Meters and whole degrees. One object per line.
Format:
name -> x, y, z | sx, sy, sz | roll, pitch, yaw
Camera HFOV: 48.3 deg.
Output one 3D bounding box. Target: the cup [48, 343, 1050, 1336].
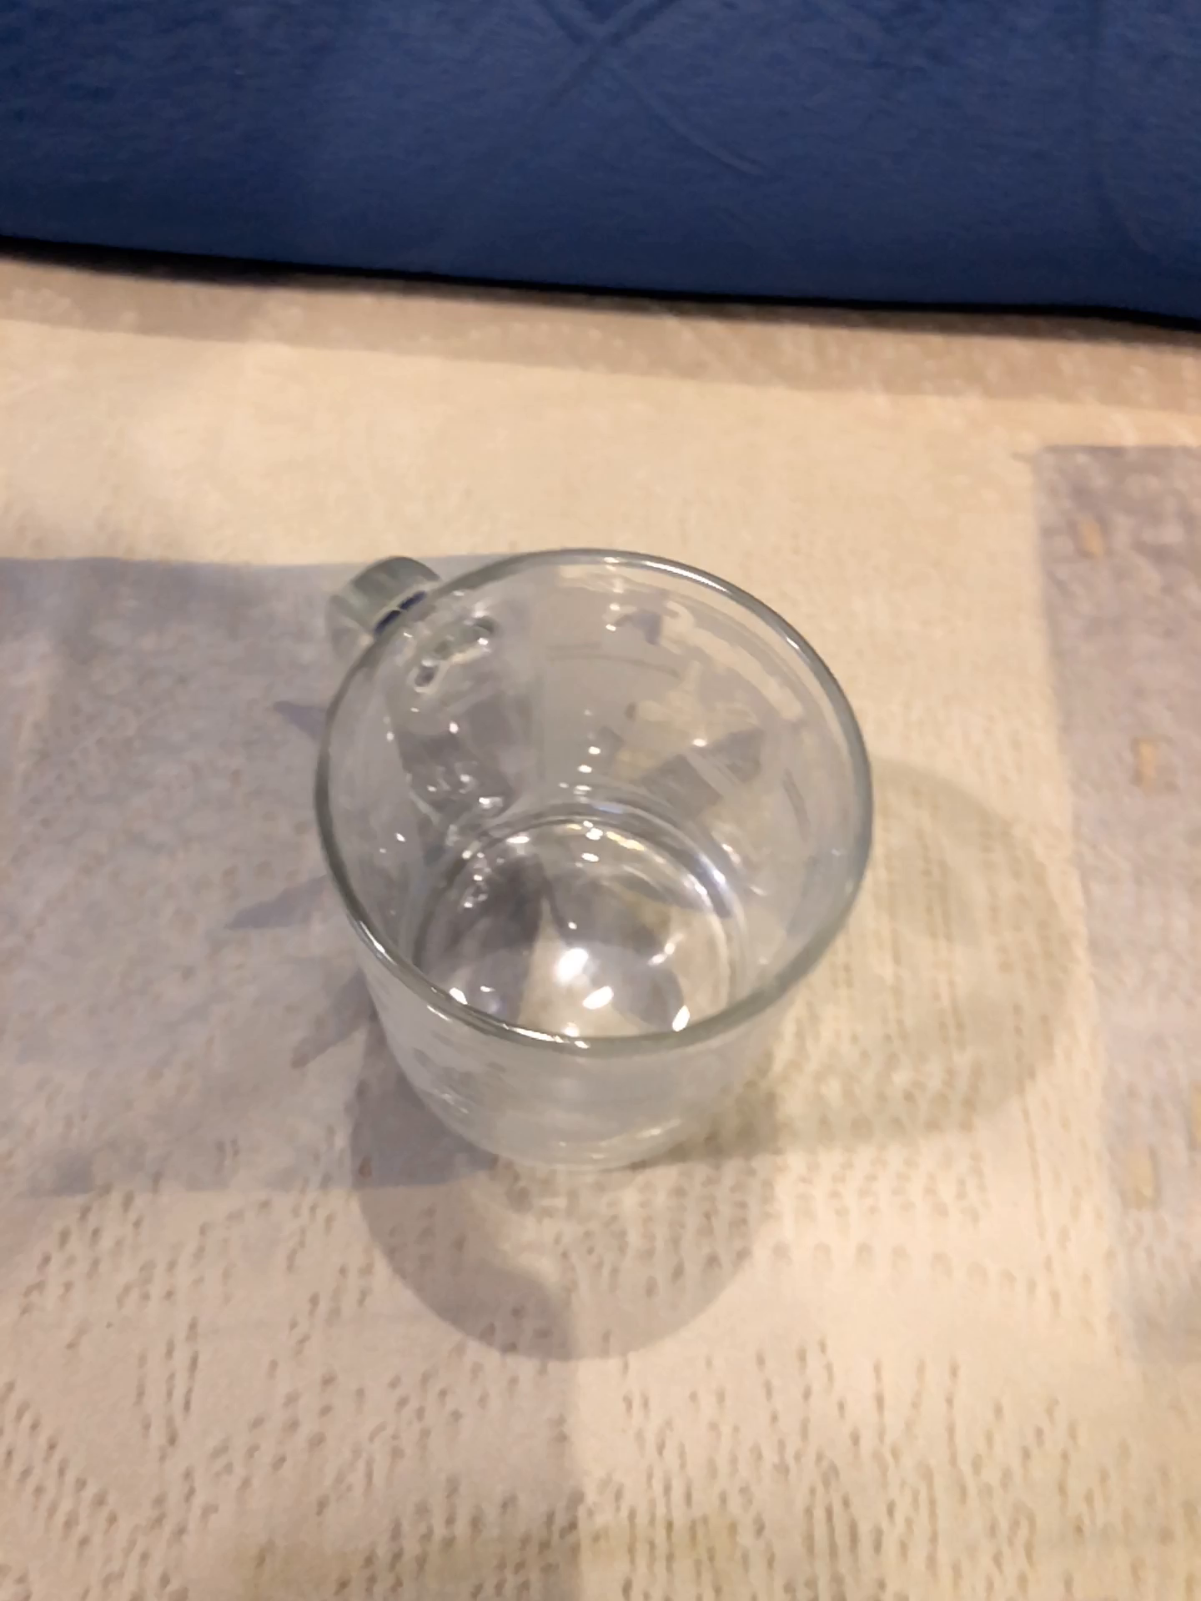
cup -> -0.012, 0.008, 0.229 | 0.090, 0.080, 0.120 | -34, 72, -19
